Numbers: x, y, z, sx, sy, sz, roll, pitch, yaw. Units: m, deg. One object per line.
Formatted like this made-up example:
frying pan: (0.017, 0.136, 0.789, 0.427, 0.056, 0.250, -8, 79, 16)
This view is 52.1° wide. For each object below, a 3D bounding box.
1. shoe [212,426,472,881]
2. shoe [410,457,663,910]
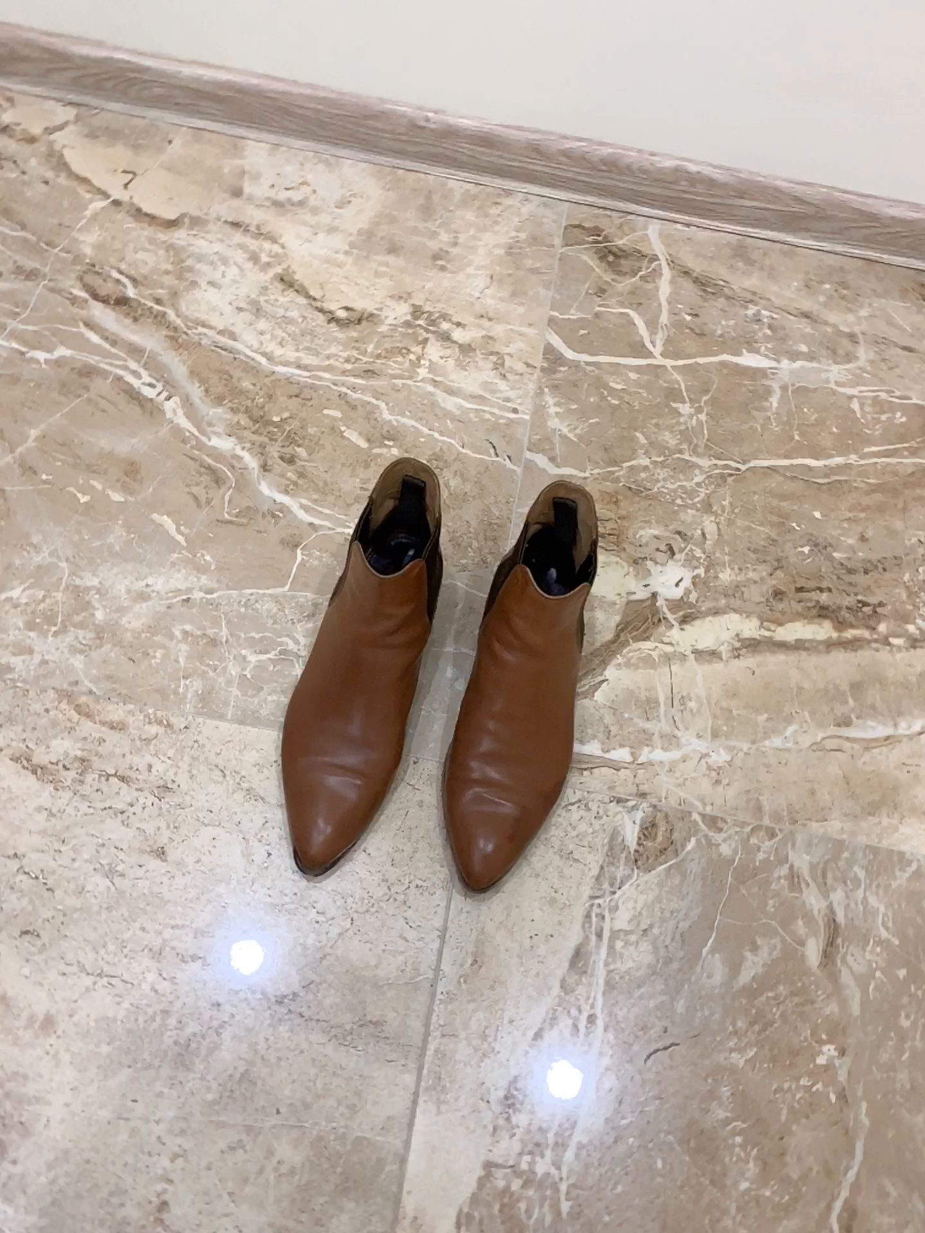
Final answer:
shoe: (-0.069, 0.024, 0.613, 0.090, 0.130, 0.251, 13, 63, 0)
shoe: (0.048, 0.042, 0.609, 0.090, 0.120, 0.251, 16, 63, 2)
